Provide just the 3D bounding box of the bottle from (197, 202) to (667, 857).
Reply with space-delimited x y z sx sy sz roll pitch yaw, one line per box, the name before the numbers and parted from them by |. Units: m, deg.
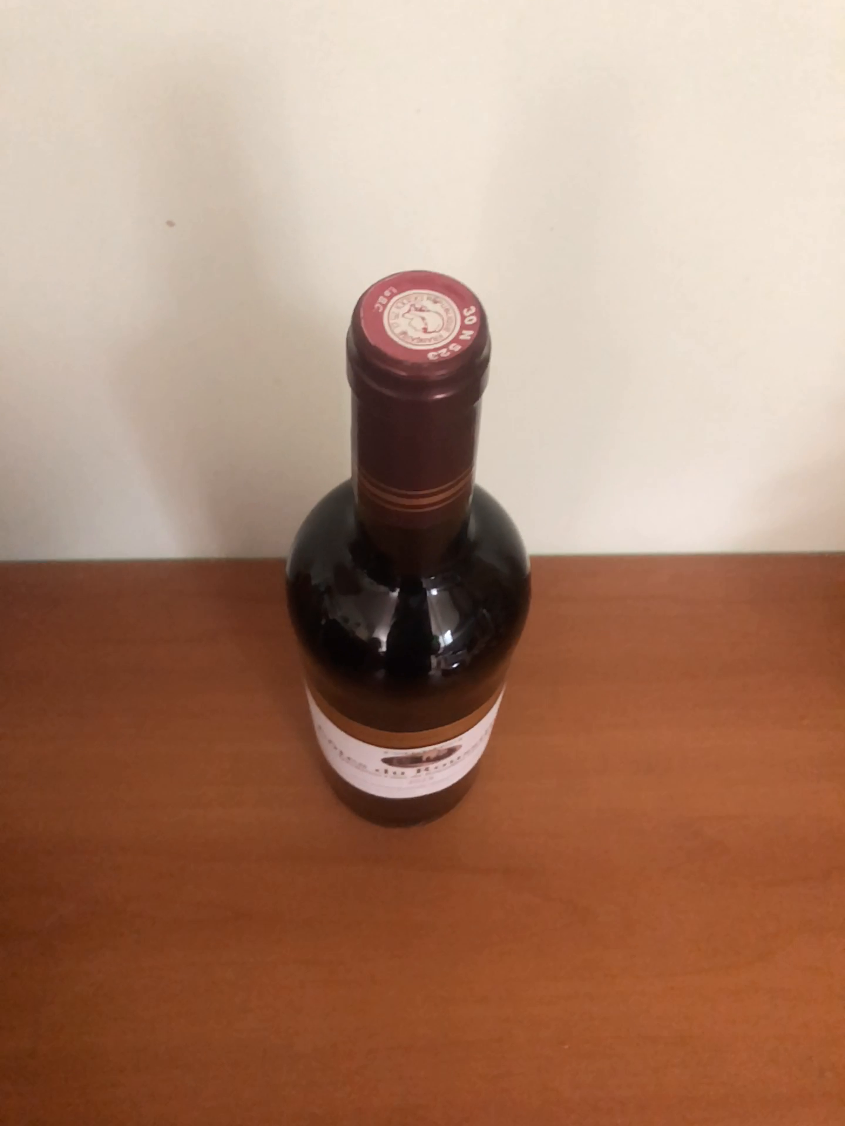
bottle | -0.006 0.027 0.306 0.080 0.289 0.080 1 63 -2
